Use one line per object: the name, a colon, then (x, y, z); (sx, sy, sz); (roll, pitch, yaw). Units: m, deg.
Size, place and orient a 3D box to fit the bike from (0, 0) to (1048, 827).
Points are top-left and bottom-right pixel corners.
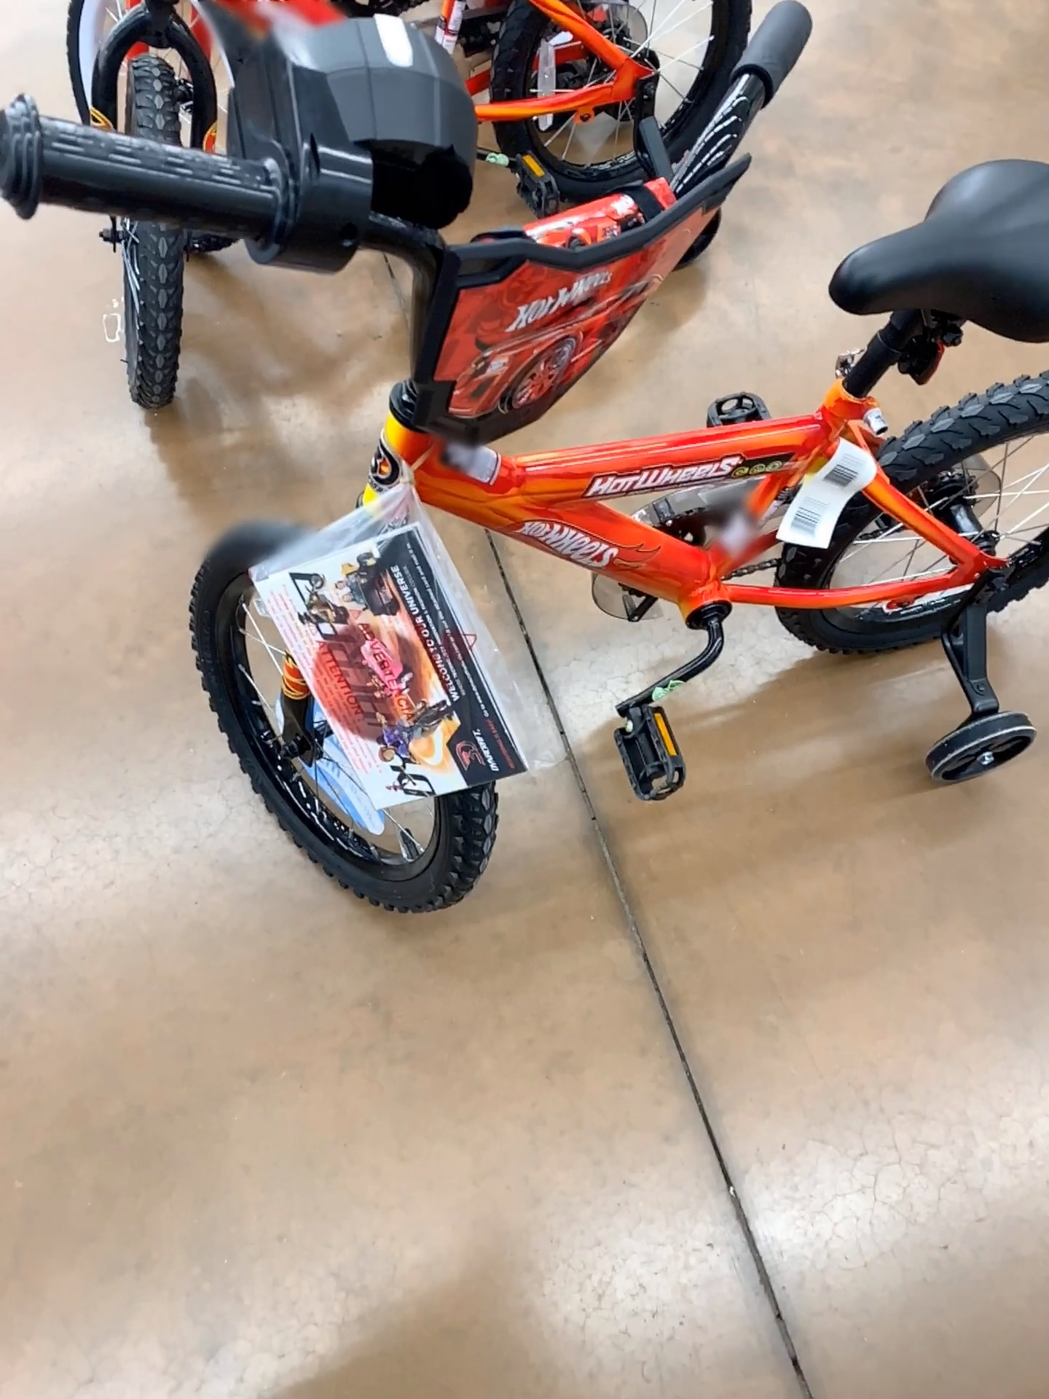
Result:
bike: (0.115, -0.315, 0.998); (0.994, 0.822, 0.504); (-10, 62, 1)
